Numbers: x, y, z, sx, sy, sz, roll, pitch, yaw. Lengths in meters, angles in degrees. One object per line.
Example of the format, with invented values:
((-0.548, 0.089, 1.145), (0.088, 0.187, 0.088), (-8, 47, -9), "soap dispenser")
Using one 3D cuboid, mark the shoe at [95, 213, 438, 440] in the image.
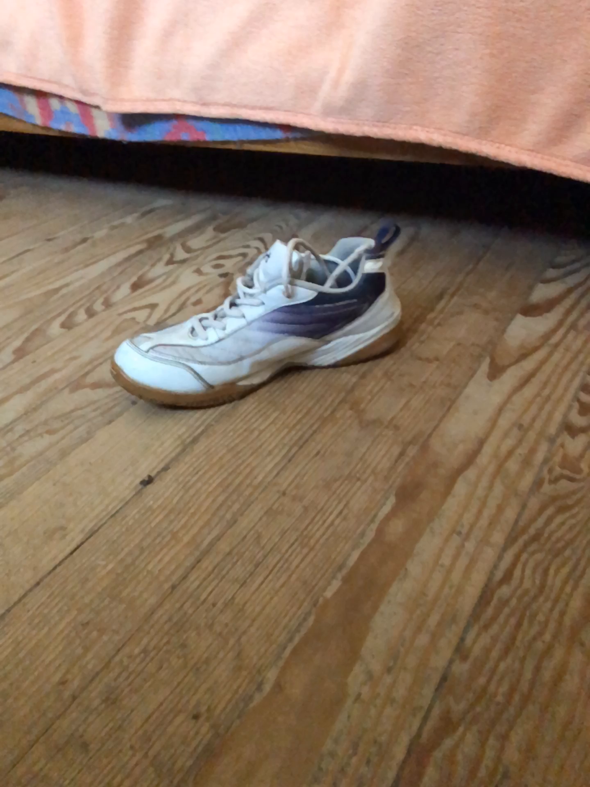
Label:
((-0.023, -0.065, 0.553), (0.260, 0.099, 0.111), (-14, 34, -11), "shoe")
